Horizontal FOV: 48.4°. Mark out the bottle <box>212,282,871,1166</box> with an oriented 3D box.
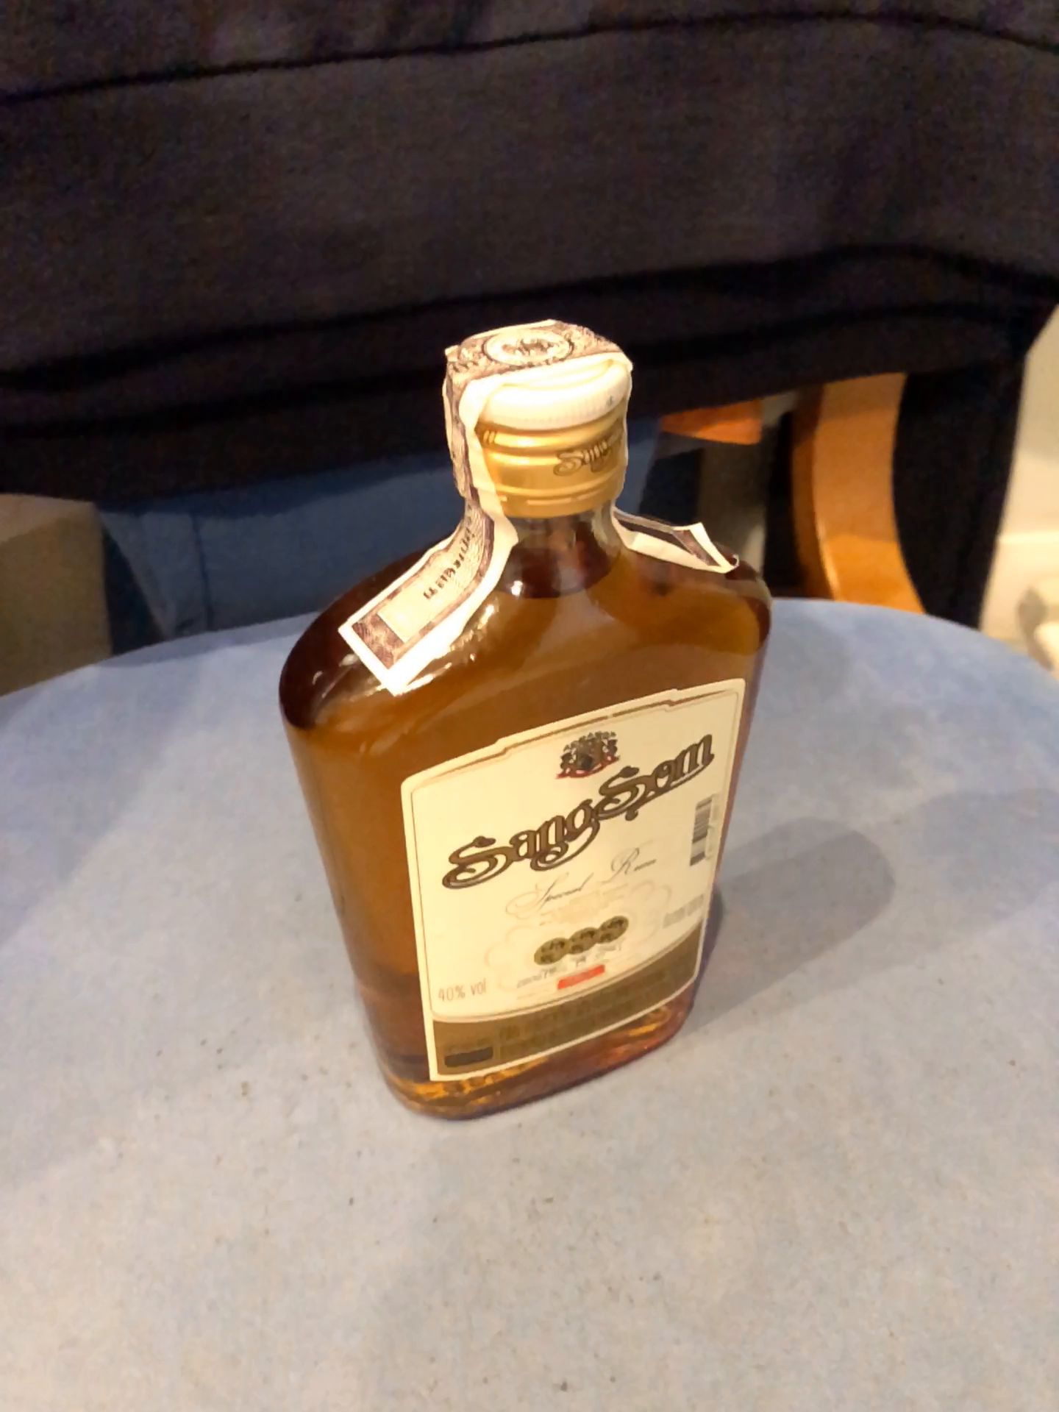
[{"bbox_3d":[0.000,0.016,0.238,0.090,0.179,0.041,-16,46,-17],"label":"bottle"}]
